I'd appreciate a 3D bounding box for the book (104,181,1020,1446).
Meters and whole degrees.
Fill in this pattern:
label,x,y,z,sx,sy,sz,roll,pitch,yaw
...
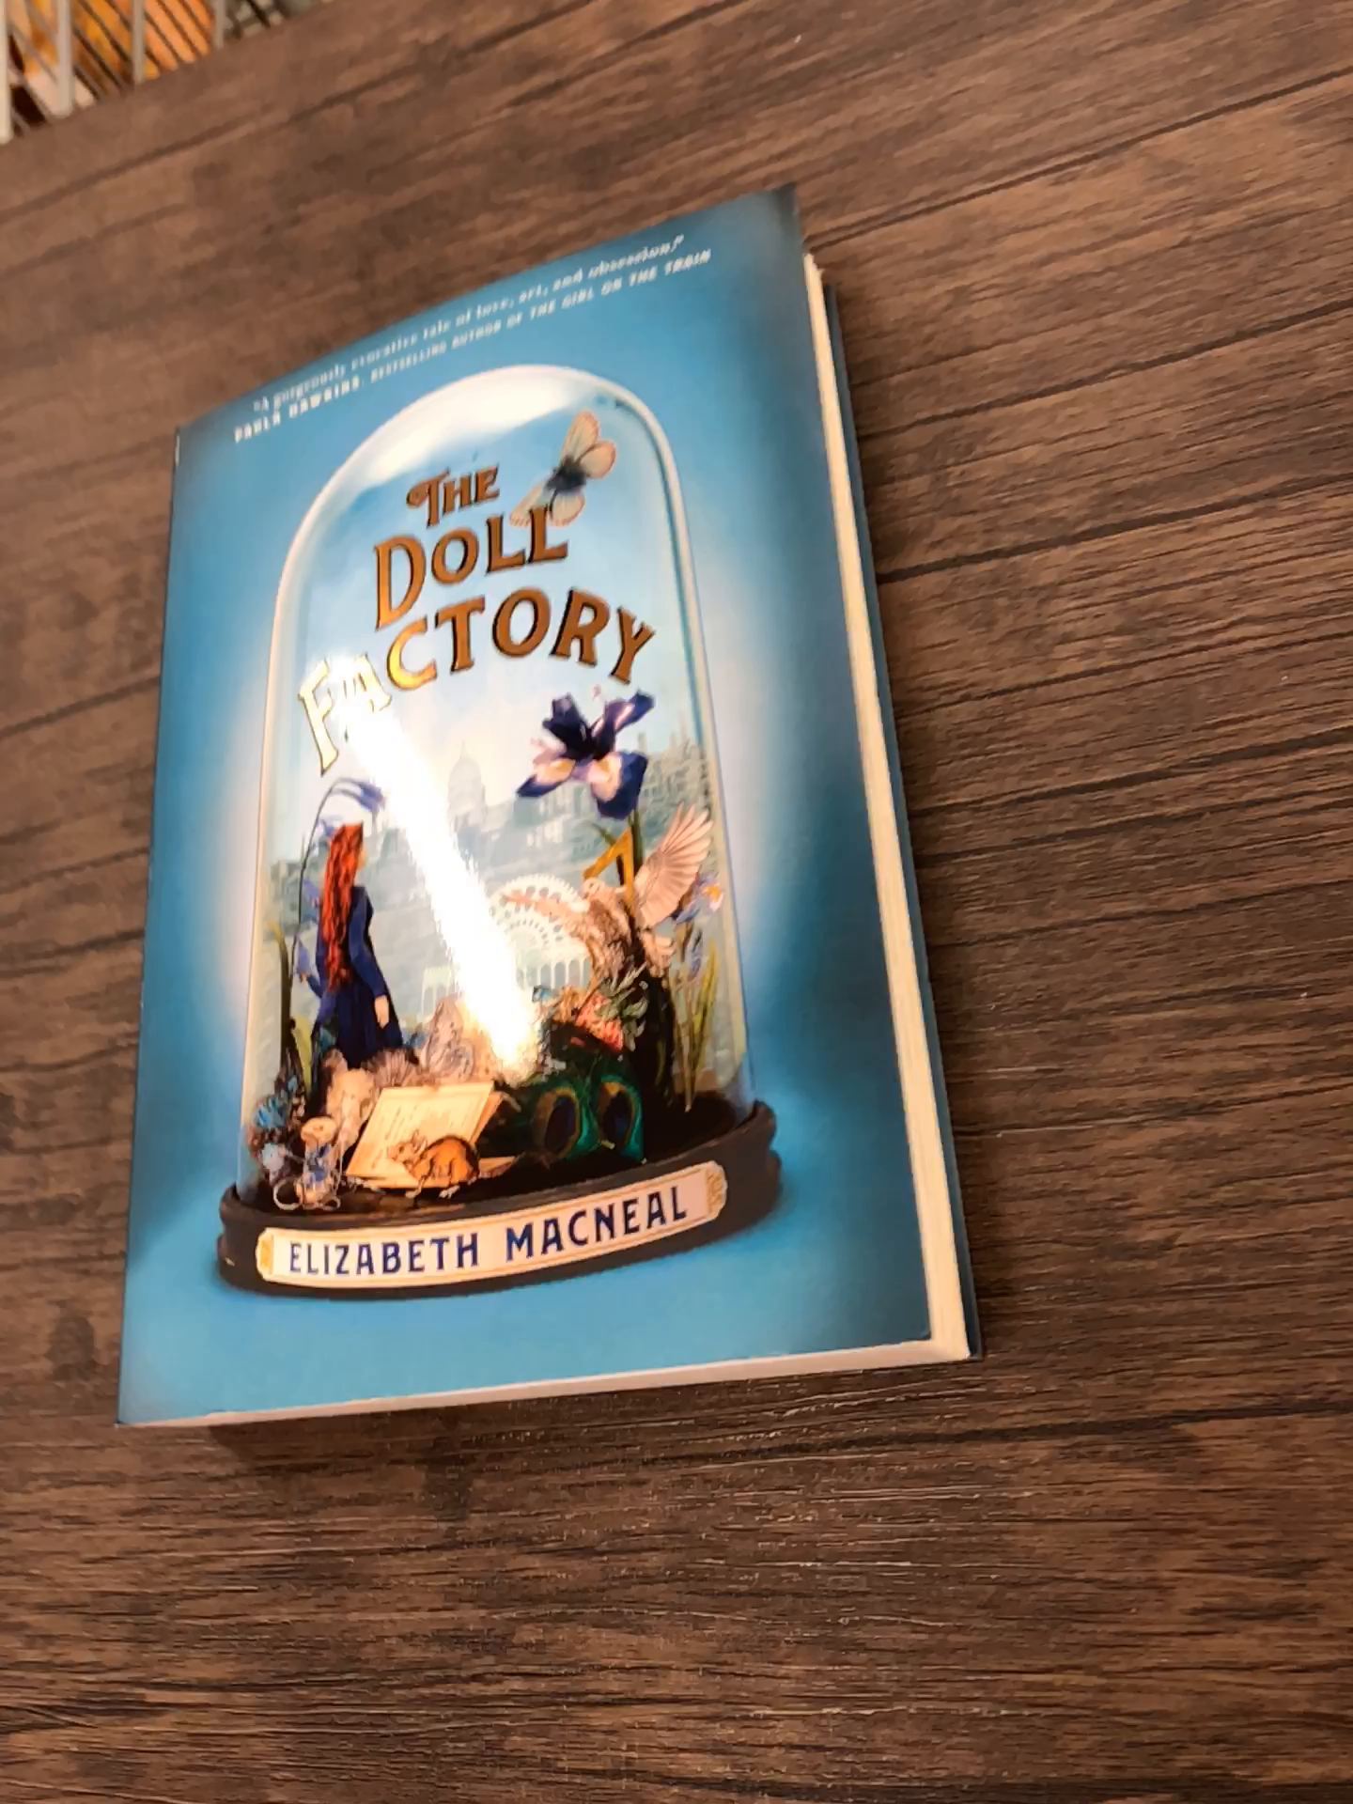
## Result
label,x,y,z,sx,sy,sz,roll,pitch,yaw
book,-0.031,-0.017,0.308,0.160,0.040,0.230,-12,68,18
